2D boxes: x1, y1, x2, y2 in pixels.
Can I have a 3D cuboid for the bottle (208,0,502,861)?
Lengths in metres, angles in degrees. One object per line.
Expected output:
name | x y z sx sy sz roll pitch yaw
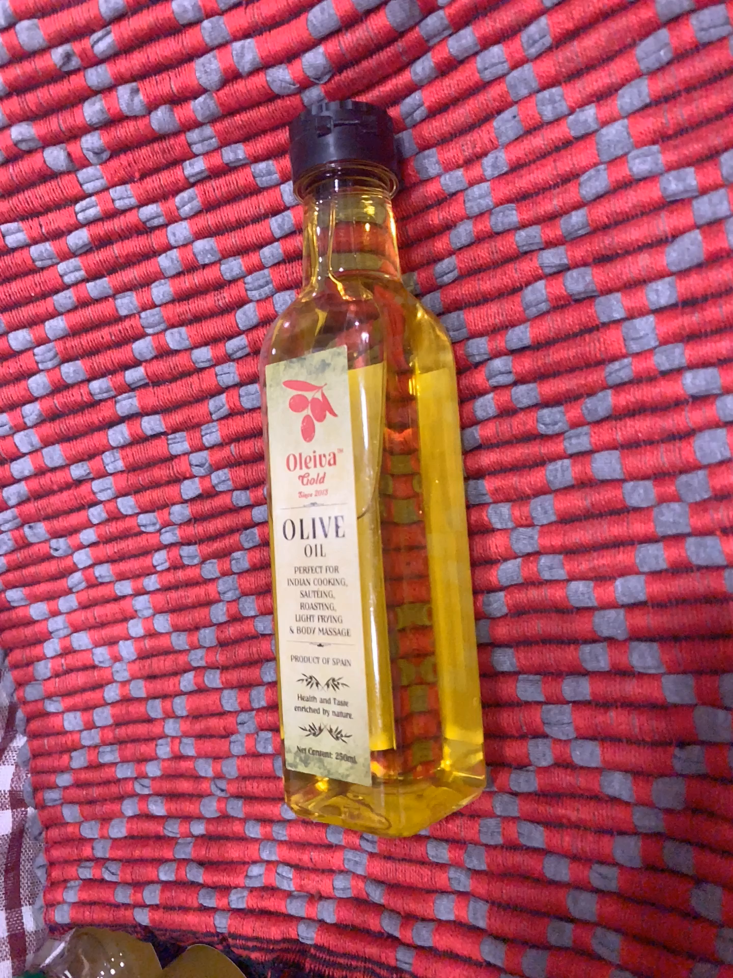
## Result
bottle | -0.004 -0.018 0.213 0.050 0.050 0.210 -7 84 39
